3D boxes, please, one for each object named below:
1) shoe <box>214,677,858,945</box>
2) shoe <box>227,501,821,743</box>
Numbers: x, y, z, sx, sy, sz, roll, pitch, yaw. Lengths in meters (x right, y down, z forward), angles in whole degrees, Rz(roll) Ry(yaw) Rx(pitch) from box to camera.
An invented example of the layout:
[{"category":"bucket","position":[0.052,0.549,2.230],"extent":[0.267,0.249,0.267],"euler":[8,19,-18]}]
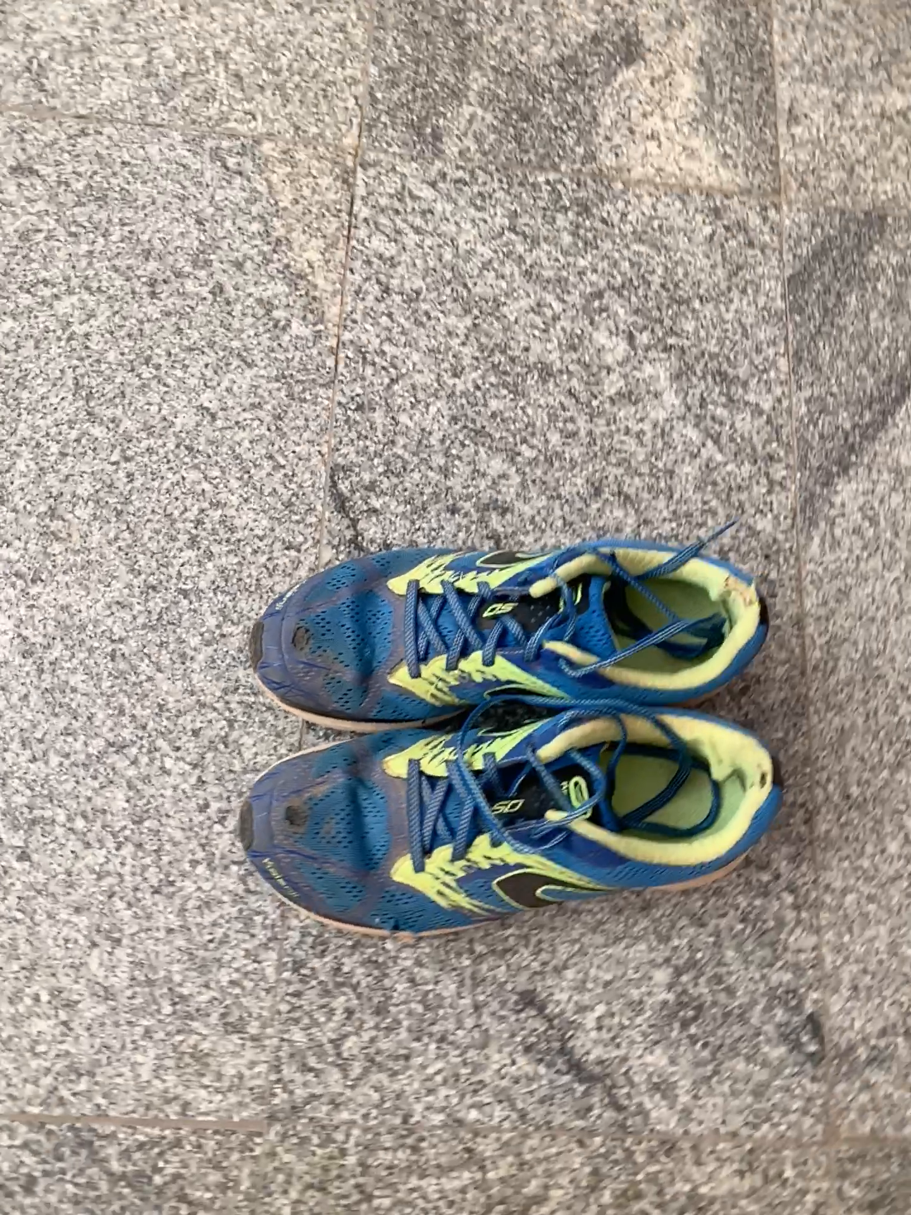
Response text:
[{"category":"shoe","position":[0.035,0.099,0.464],"extent":[0.290,0.060,0.100],"euler":[-2,62,-7]},{"category":"shoe","position":[0.034,0.011,0.497],"extent":[0.290,0.060,0.110],"euler":[1,71,-6]}]
